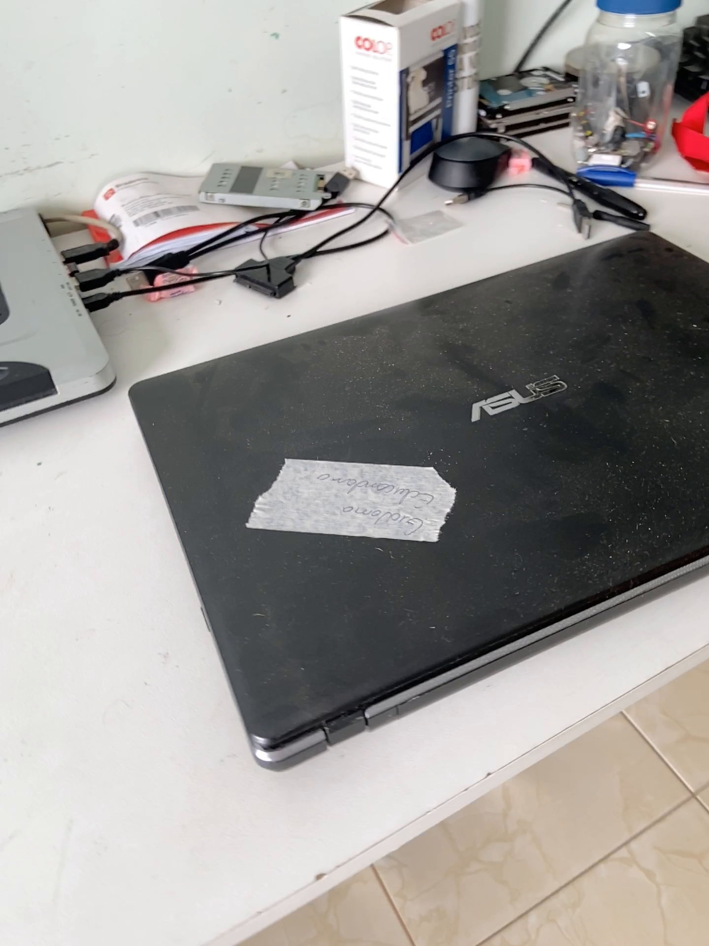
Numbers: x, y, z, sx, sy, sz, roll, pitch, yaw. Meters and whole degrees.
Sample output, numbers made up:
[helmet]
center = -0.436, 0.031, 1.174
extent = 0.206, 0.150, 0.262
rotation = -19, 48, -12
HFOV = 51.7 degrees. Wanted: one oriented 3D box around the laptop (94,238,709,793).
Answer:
[laptop]
center = 0.068, -0.027, 0.399
extent = 0.385, 0.007, 0.252
rotation = -20, 45, -14
